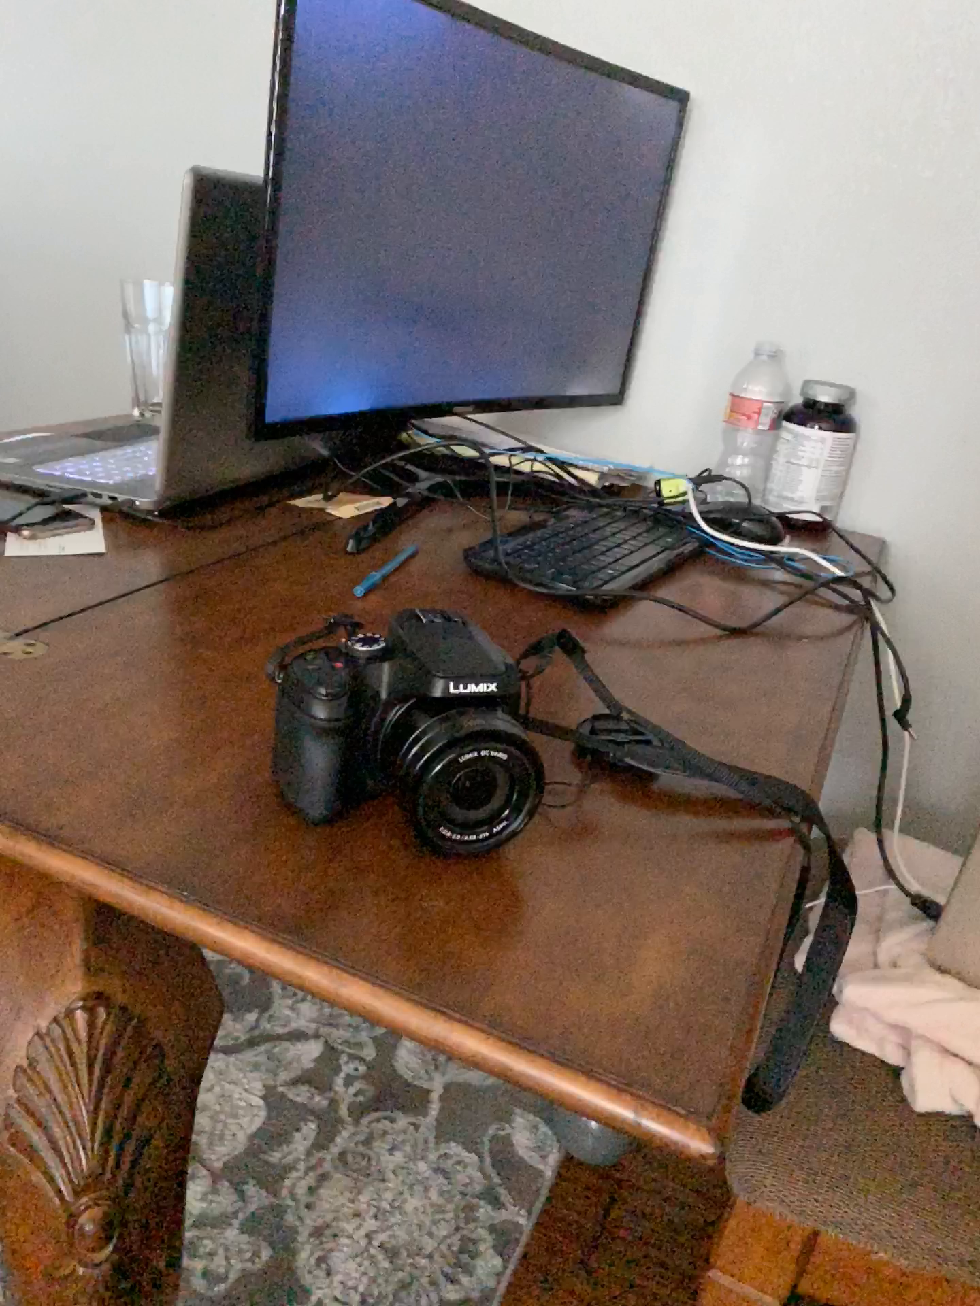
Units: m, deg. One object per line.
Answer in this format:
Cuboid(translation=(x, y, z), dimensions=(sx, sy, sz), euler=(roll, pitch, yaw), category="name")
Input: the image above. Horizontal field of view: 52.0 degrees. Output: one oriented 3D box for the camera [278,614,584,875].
Cuboid(translation=(-0.038, 0.042, 0.544), dimensions=(0.130, 0.089, 0.111), euler=(-2, 24, -22), category="camera")
